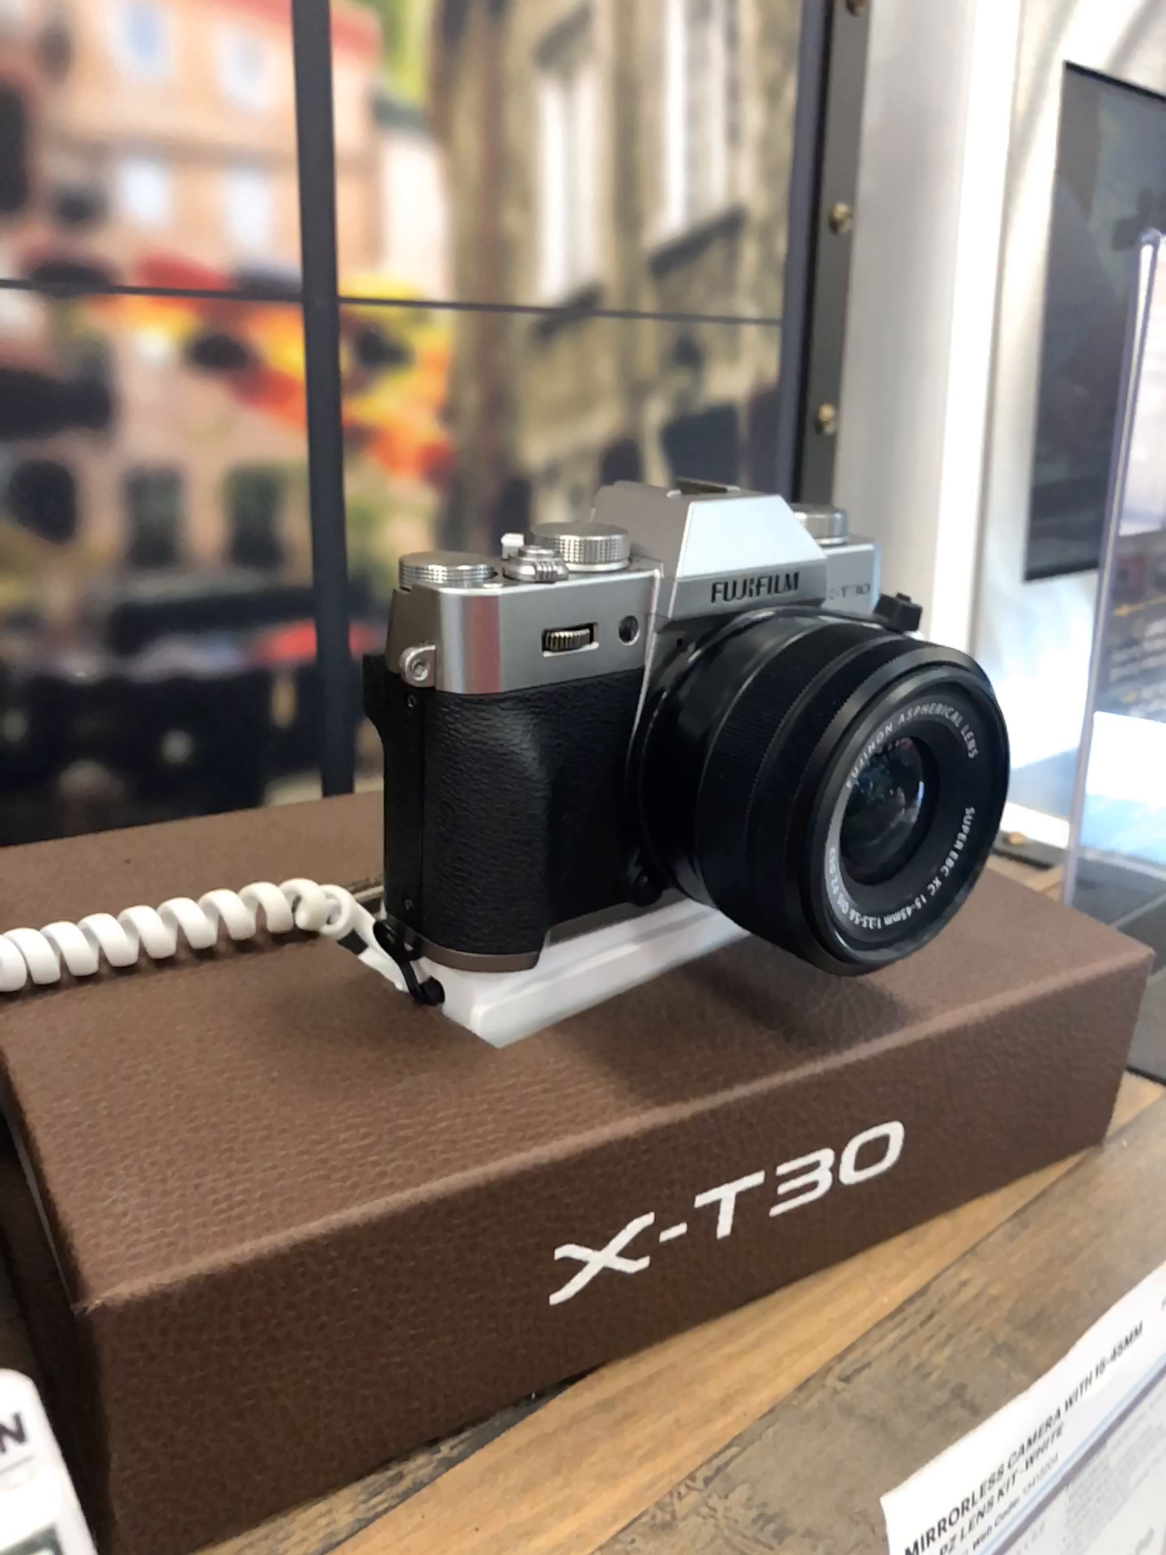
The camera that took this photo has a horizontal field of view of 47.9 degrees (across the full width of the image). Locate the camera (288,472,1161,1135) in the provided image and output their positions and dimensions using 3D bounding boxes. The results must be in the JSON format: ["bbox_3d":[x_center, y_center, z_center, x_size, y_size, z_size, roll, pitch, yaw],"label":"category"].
[{"bbox_3d":[0.026,-0.010,0.247,0.130,0.080,0.090,-12,23,-37],"label":"camera"}]
